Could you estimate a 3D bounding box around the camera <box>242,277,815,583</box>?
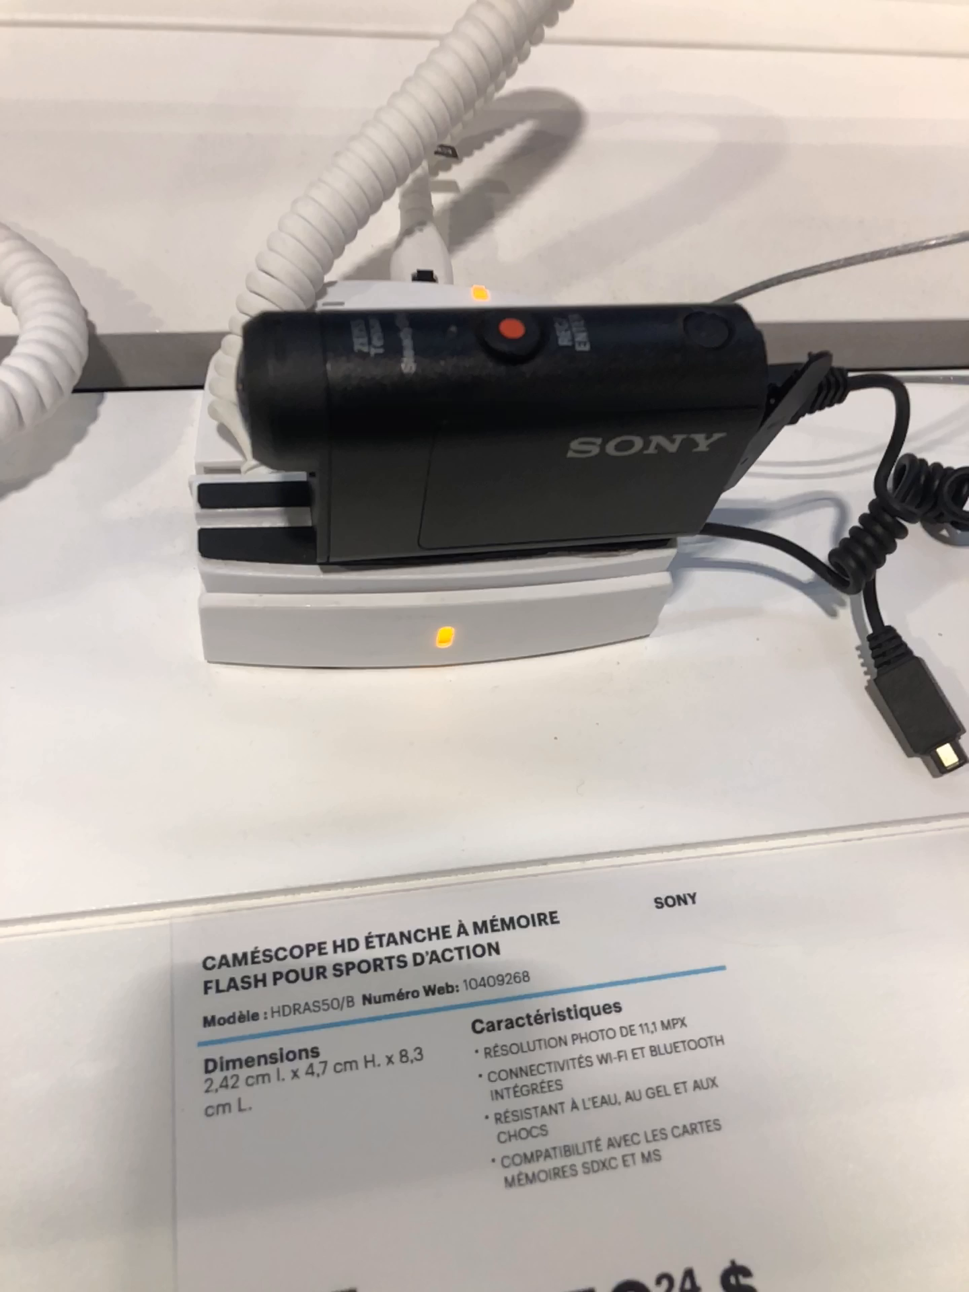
[{"bbox_3d":[0.004,-0.034,0.172,0.080,0.045,0.020,-4,58,-10],"label":"camera"}]
